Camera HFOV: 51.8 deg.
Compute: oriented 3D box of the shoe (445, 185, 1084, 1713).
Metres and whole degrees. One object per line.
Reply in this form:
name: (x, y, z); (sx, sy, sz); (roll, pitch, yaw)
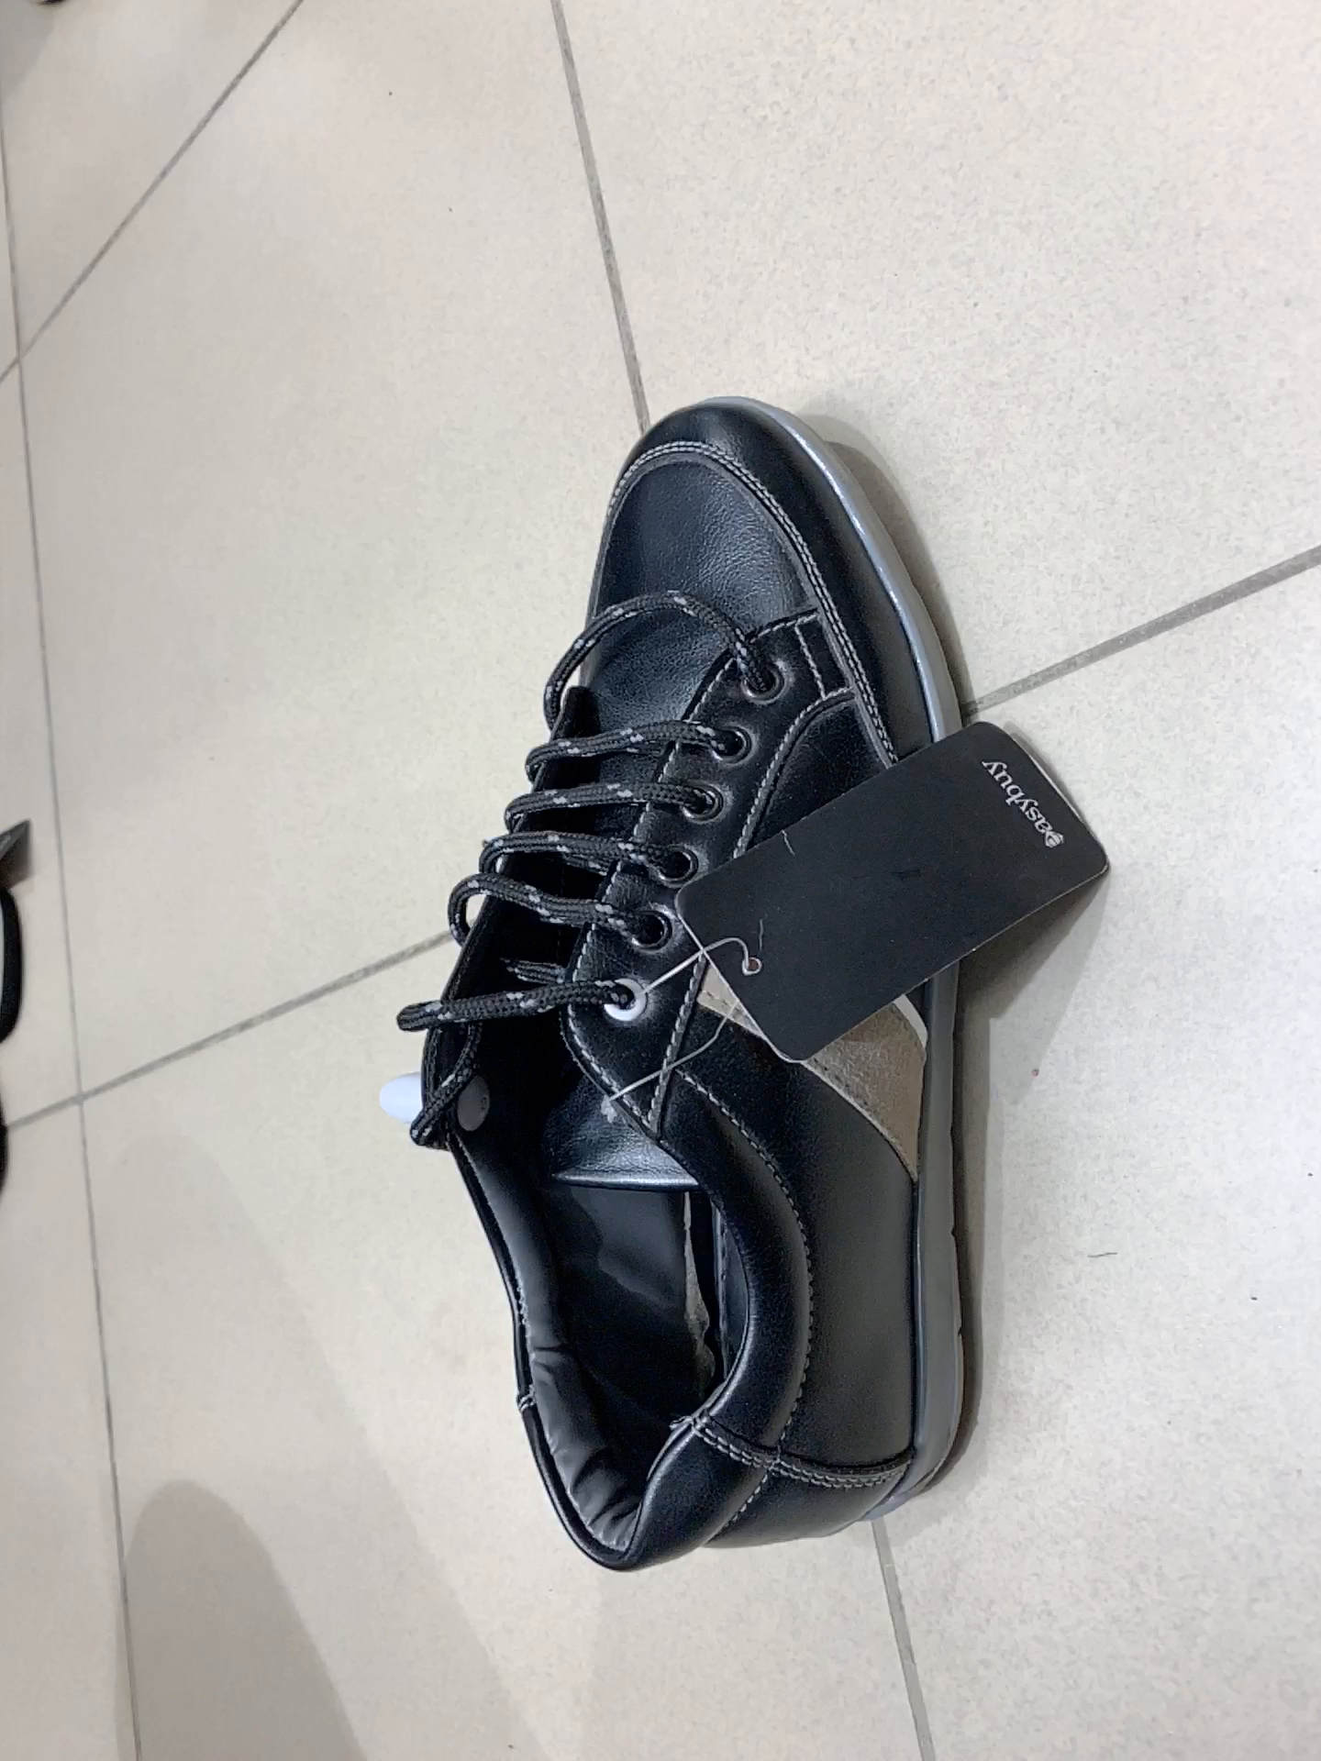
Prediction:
shoe: (0.020, 0.012, 0.332); (0.101, 0.089, 0.300); (-11, 79, 42)
